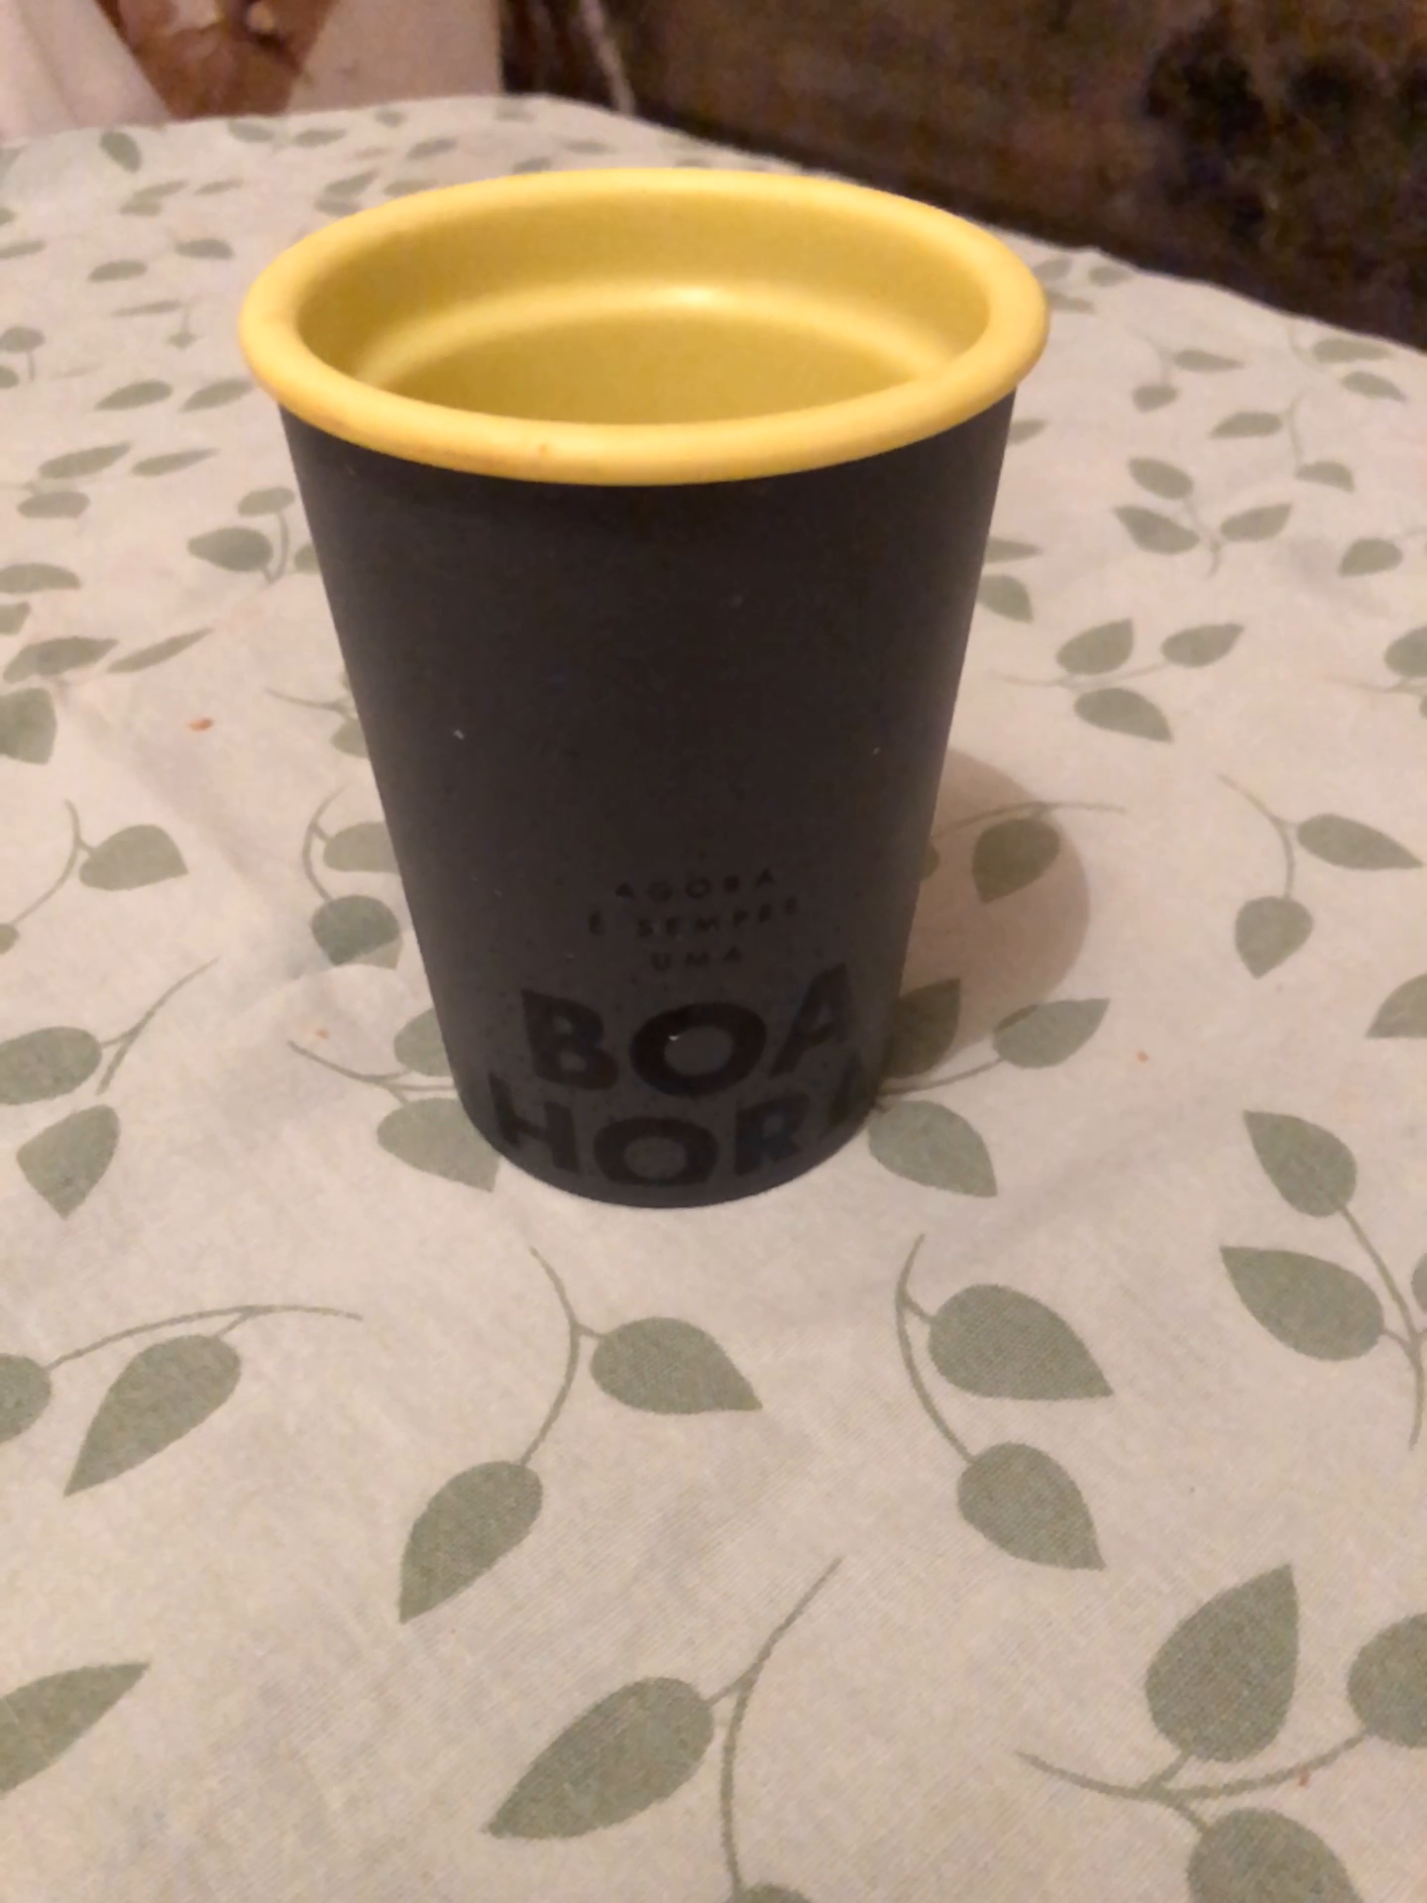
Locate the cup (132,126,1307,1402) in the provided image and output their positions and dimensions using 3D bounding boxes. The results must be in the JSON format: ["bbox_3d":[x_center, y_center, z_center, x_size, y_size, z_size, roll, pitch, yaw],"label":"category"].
[{"bbox_3d":[-0.005,-0.028,0.200,0.090,0.109,0.090,0,41,0],"label":"cup"}]
